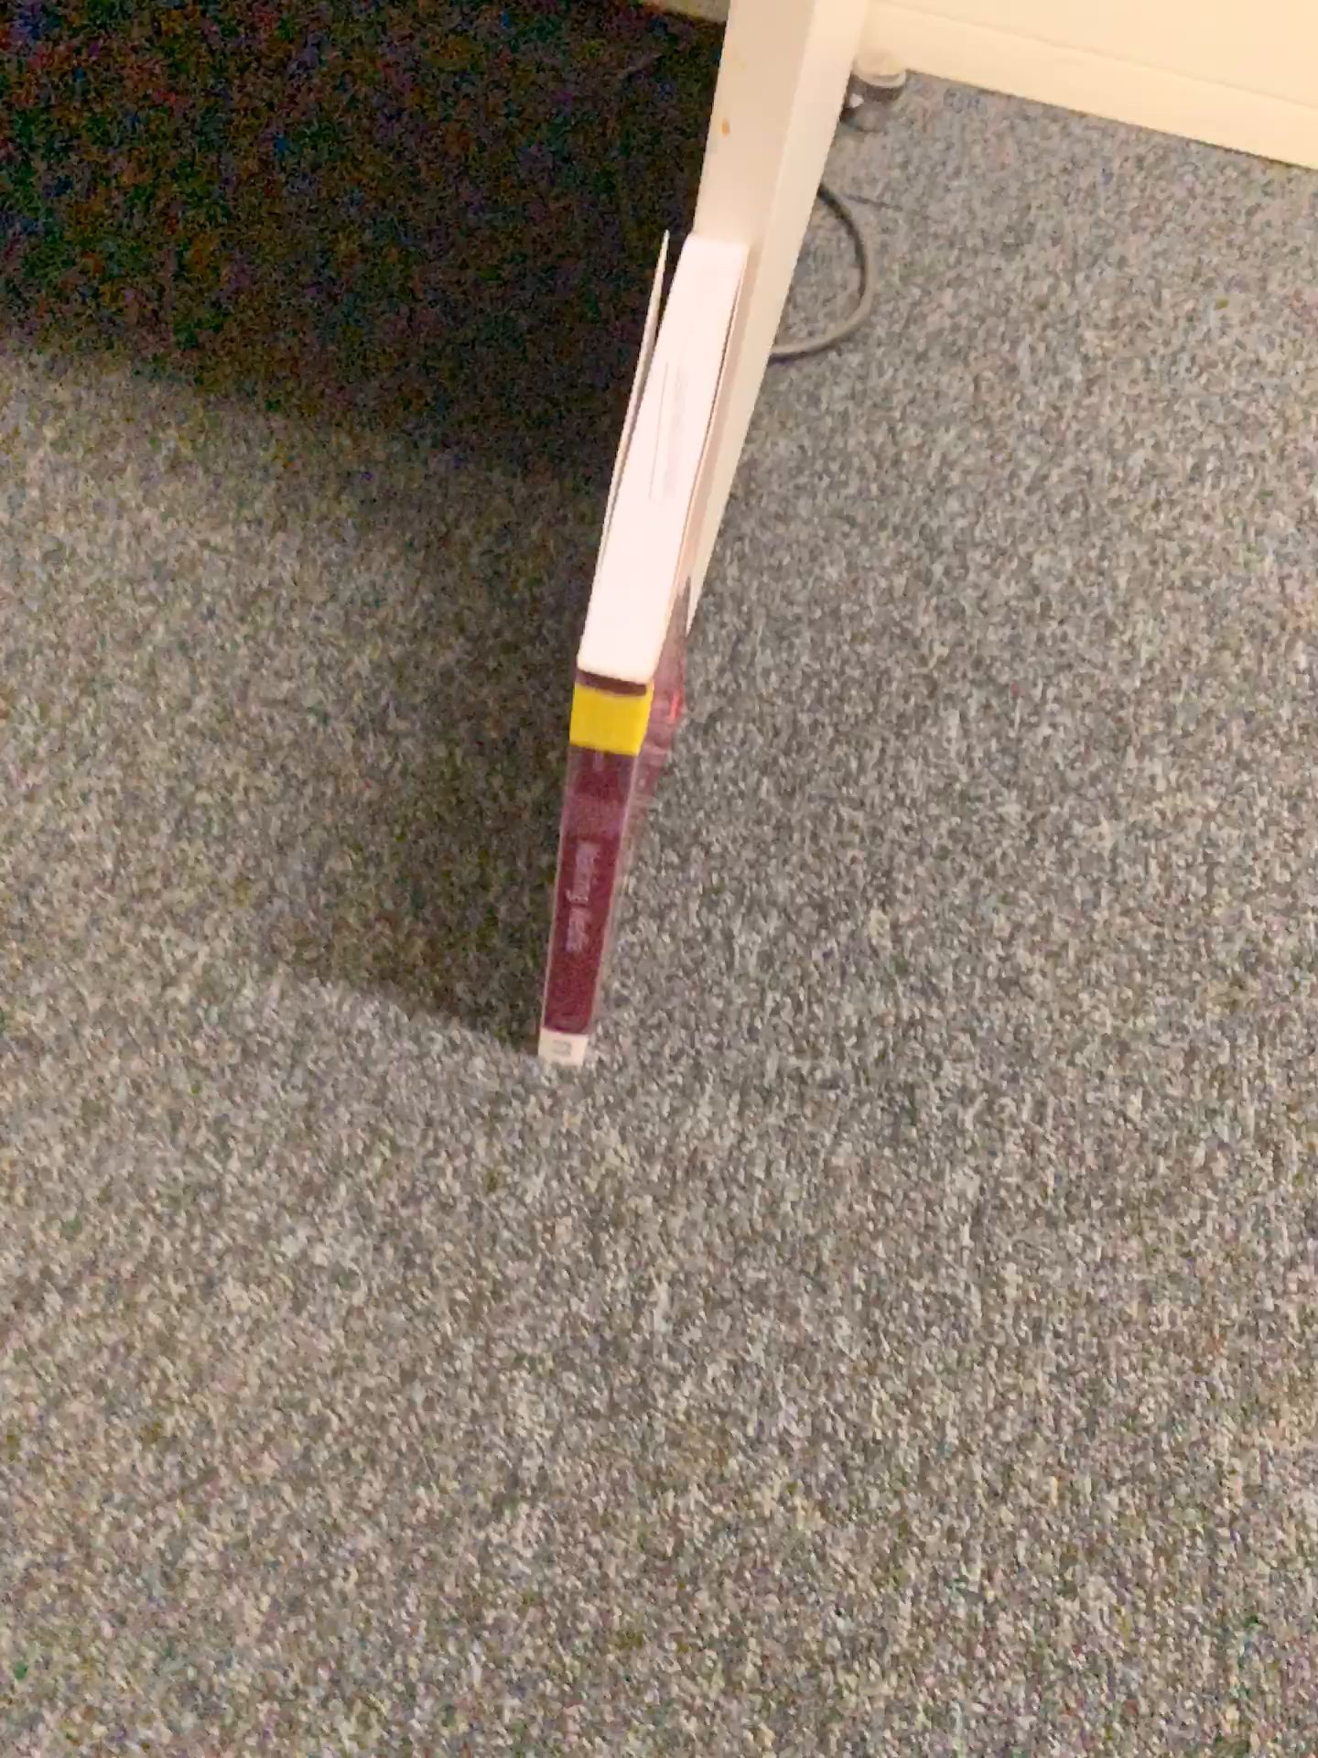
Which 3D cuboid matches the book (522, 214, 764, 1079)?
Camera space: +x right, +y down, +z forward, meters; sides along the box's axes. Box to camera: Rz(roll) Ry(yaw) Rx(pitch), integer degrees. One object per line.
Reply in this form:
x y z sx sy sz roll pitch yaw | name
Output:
-0.009 -0.070 0.482 0.036 0.228 0.201 10 57 0 | book
